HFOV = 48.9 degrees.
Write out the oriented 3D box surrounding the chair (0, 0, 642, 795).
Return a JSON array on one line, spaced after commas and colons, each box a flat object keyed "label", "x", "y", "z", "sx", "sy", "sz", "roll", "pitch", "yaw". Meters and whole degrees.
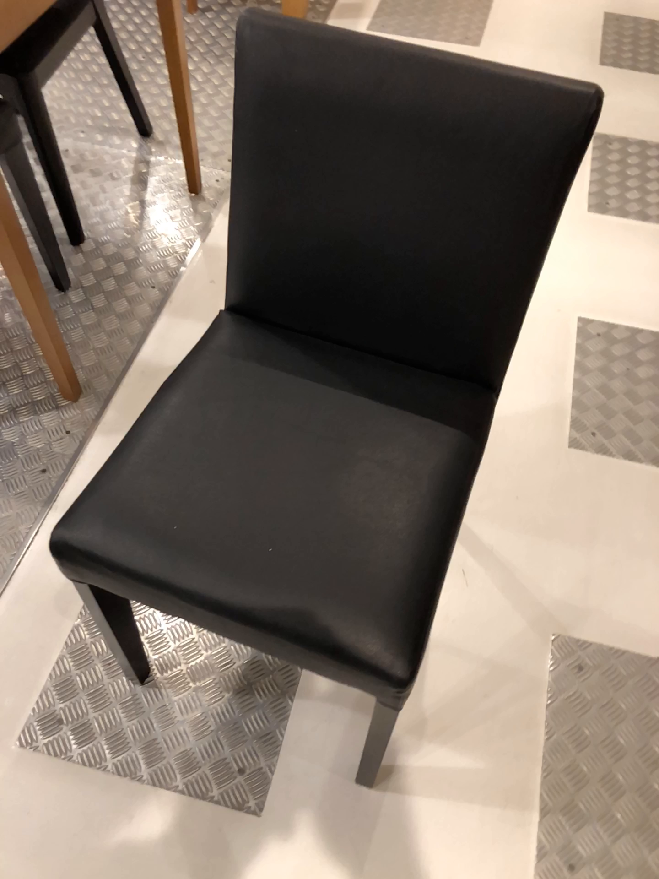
[{"label": "chair", "x": -0.023, "y": 0.011, "z": 0.951, "sx": 0.470, "sy": 0.825, "sz": 0.553, "roll": 19, "pitch": 56, "yaw": 11}]
